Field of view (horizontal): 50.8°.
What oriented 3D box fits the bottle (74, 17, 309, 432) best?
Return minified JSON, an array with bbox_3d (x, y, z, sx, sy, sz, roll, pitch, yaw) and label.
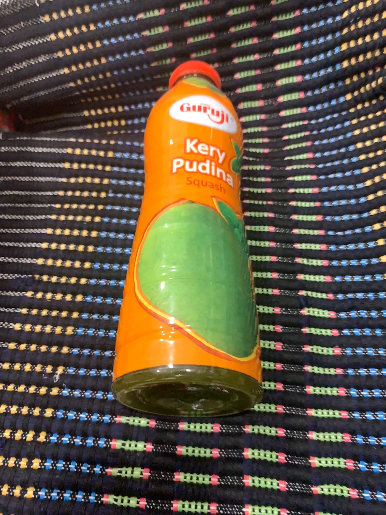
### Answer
[{"bbox_3d":[0.002,-0.032,0.236,0.070,0.070,0.231,29,47,-33],"label":"bottle"}]
